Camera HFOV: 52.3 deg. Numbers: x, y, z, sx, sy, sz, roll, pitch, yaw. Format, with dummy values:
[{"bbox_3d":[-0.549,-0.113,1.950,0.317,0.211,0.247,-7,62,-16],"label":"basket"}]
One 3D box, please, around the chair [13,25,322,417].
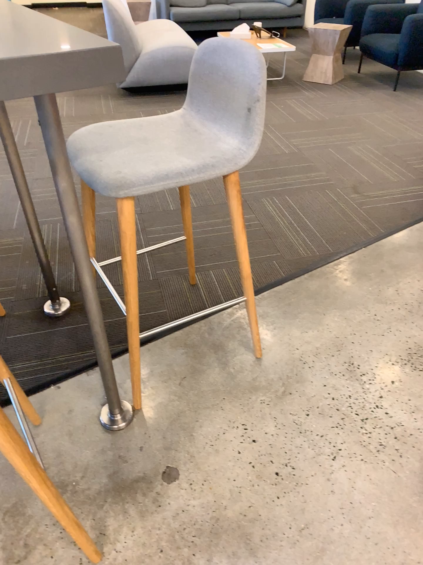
[{"bbox_3d":[-0.143,-0.201,1.330,0.550,0.924,0.593,-19,42,-23],"label":"chair"}]
